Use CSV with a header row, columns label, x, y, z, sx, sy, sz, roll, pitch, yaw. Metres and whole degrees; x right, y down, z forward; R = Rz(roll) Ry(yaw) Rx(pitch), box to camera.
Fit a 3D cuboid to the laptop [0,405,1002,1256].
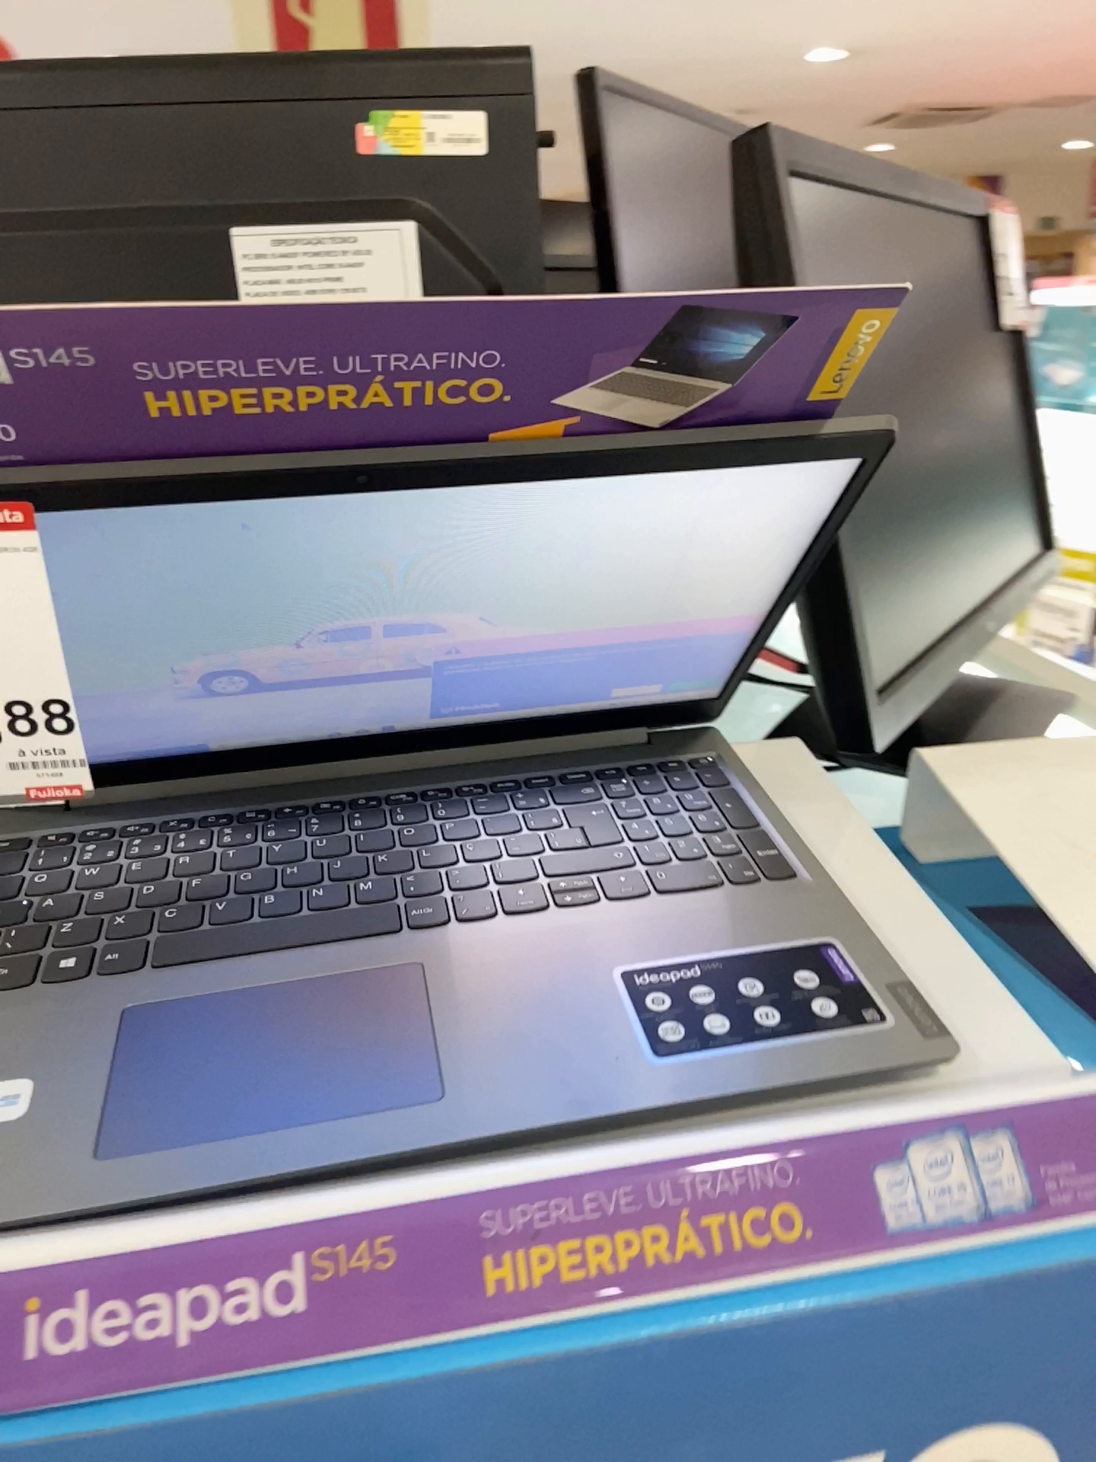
label,x,y,z,sx,sy,sz,roll,pitch,yaw
laptop,-0.069,-0.007,0.417,0.356,0.161,0.245,-6,25,-11
